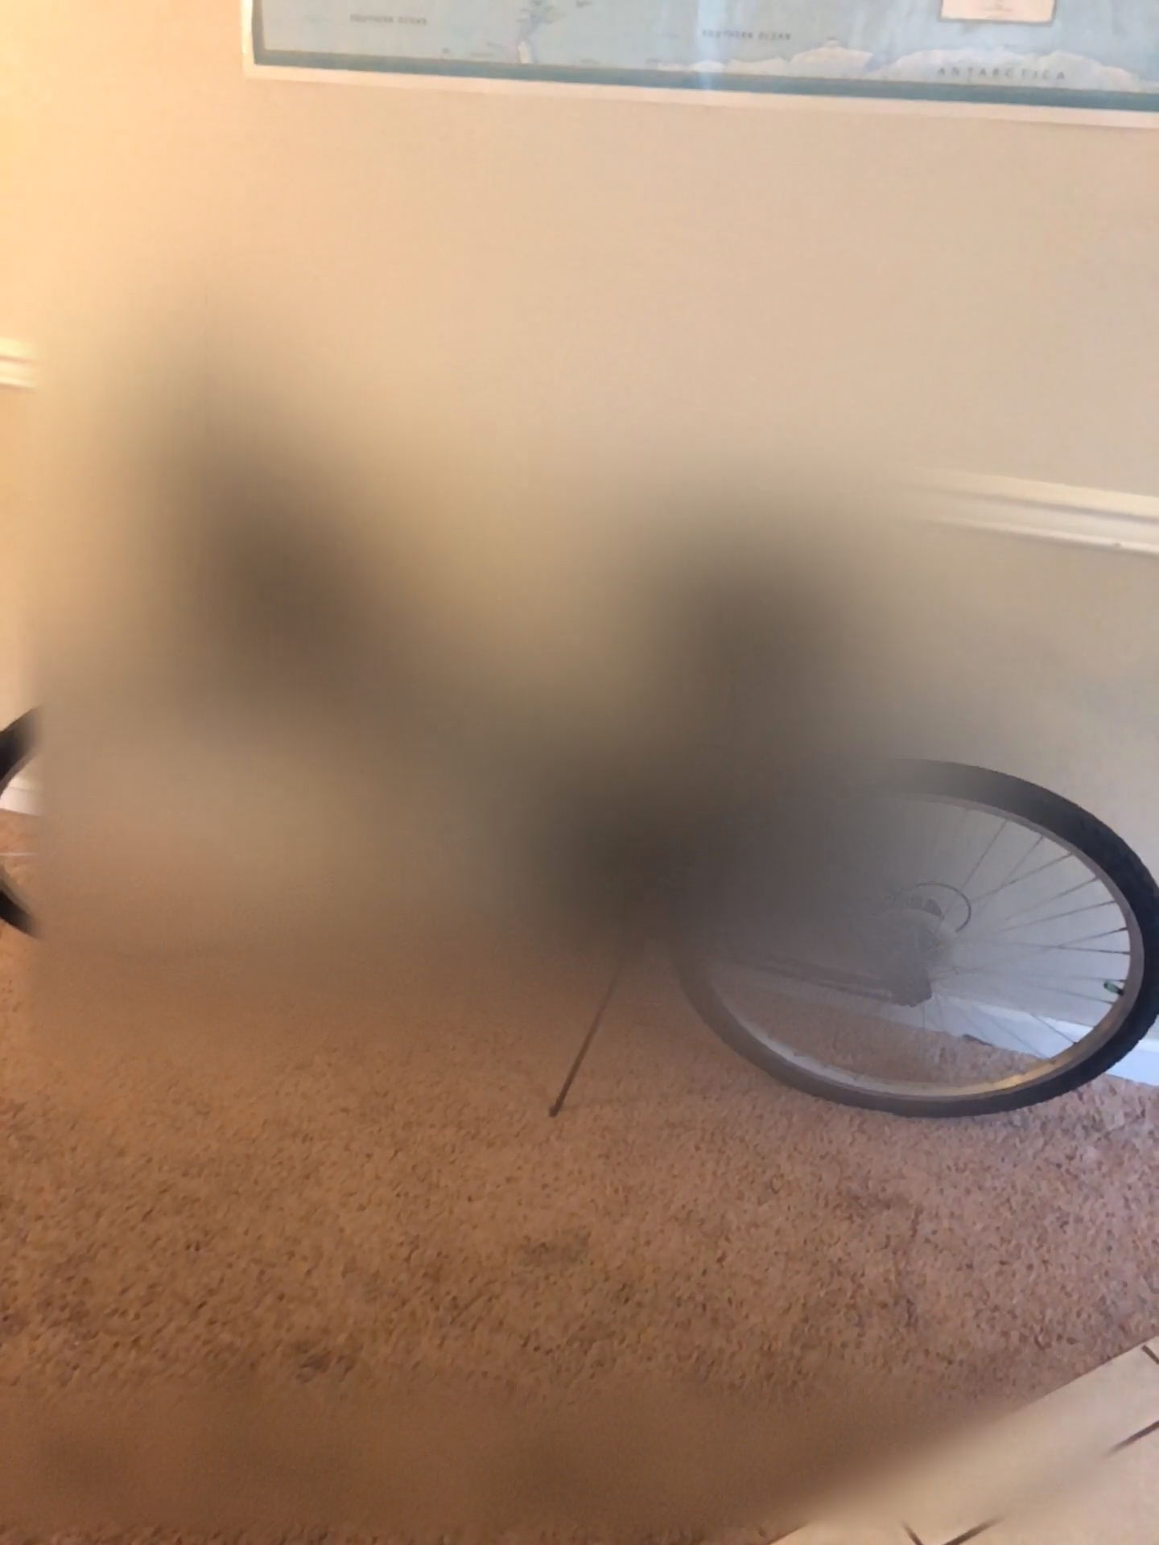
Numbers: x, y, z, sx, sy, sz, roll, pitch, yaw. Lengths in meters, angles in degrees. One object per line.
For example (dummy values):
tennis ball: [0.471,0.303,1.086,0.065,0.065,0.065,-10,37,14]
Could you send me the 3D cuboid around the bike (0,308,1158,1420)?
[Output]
bike: [-0.072,0.080,1.804,1.864,1.177,0.682,6,29,6]
